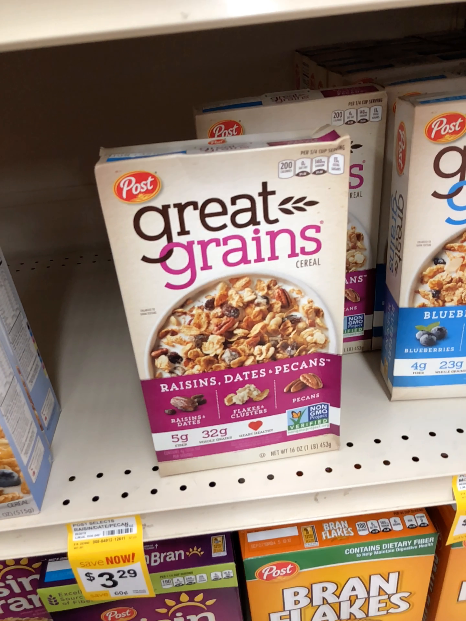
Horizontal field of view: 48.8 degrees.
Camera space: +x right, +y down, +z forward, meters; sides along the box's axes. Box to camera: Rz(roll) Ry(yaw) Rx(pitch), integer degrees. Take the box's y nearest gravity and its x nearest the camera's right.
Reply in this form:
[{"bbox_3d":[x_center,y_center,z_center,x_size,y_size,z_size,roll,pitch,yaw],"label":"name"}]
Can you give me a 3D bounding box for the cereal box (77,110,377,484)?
[{"bbox_3d":[0.006,0.006,0.381,0.170,0.269,0.050,-8,33,-4],"label":"cereal box"}]
